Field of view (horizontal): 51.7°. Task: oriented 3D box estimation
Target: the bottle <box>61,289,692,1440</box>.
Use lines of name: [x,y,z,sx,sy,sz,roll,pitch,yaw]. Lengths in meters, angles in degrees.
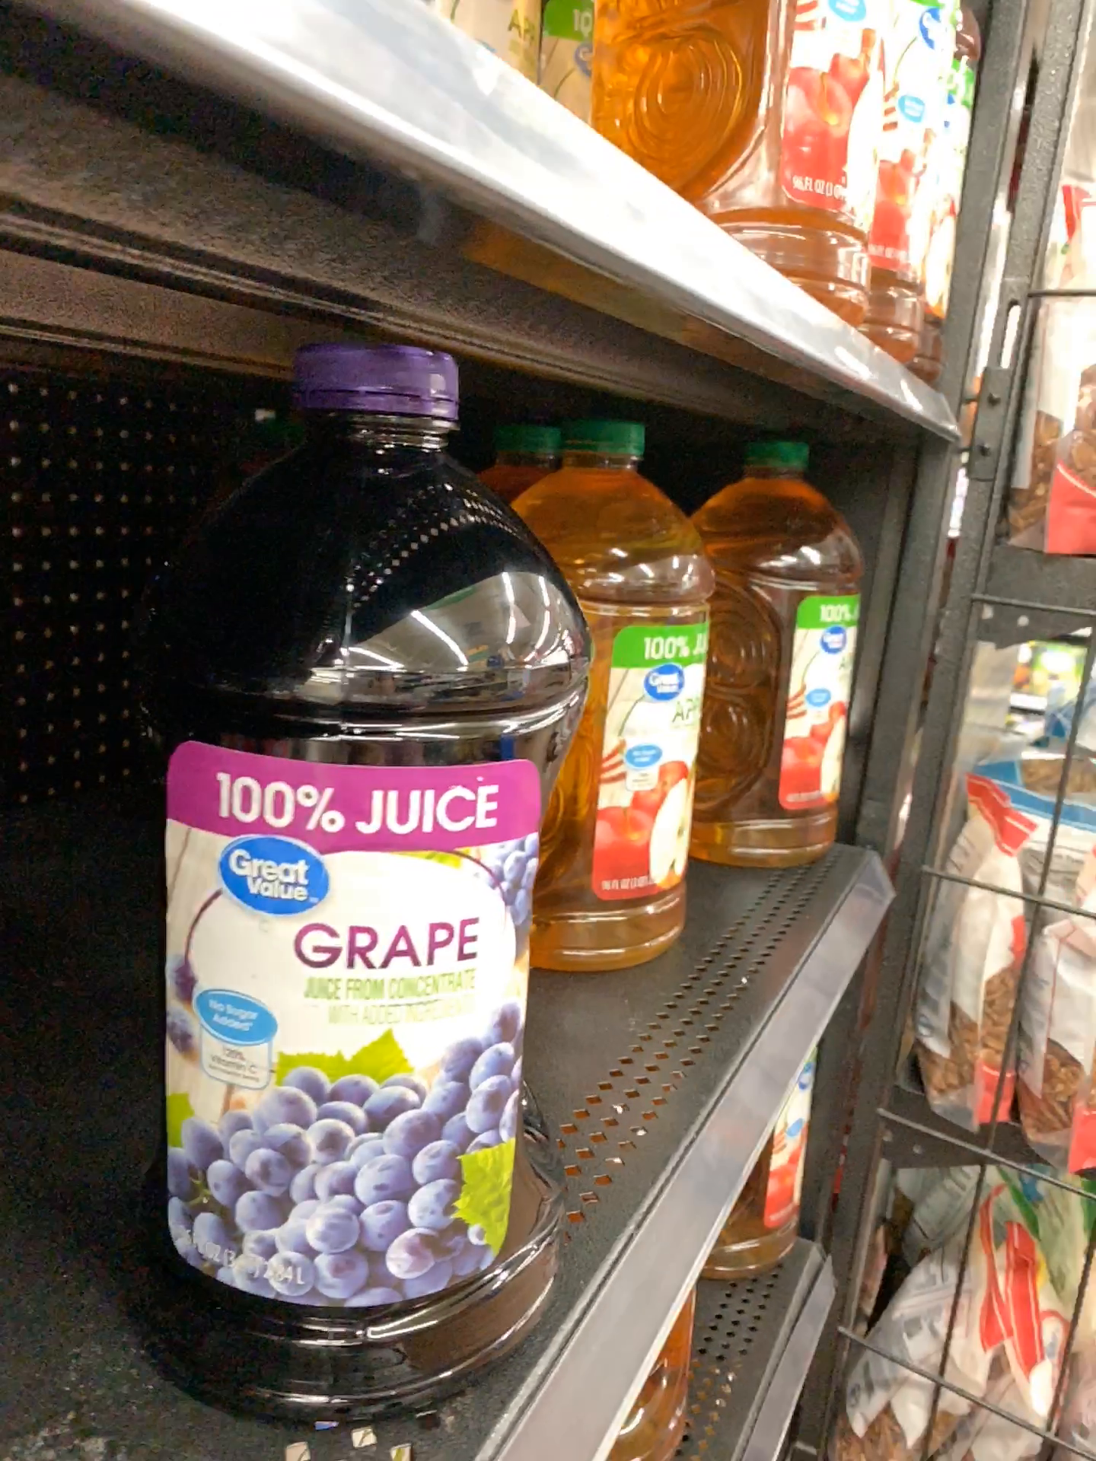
bottle: [-0.051,0.033,0.333,0.130,0.279,0.140,5,13,-1]
